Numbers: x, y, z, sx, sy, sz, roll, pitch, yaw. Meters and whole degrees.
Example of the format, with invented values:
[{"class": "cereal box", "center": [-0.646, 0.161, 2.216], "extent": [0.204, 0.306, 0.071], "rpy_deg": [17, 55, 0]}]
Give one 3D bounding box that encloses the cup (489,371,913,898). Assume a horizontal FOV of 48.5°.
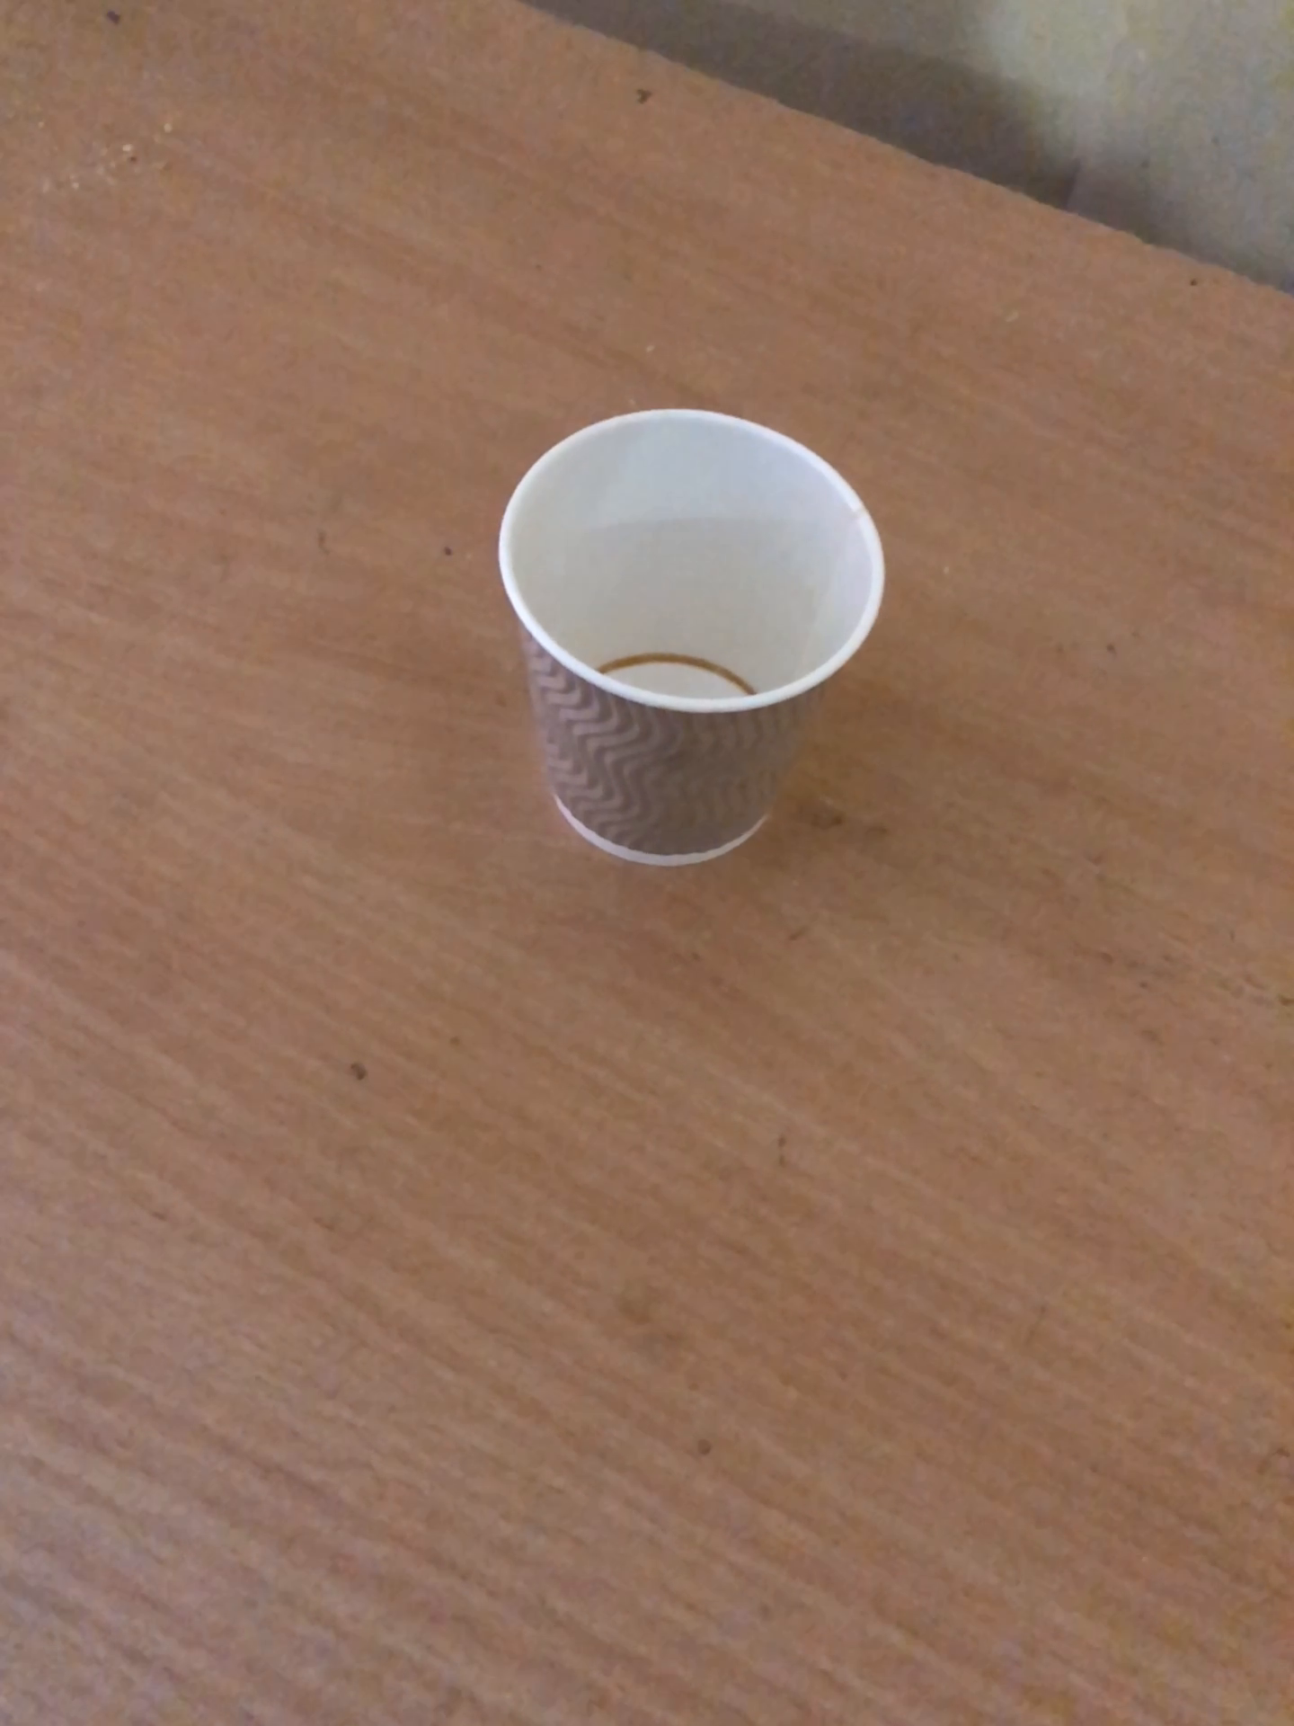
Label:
[{"class": "cup", "center": [0.006, -0.043, 0.279], "extent": [0.067, 0.064, 0.074], "rpy_deg": [-3, 60, -4]}]
